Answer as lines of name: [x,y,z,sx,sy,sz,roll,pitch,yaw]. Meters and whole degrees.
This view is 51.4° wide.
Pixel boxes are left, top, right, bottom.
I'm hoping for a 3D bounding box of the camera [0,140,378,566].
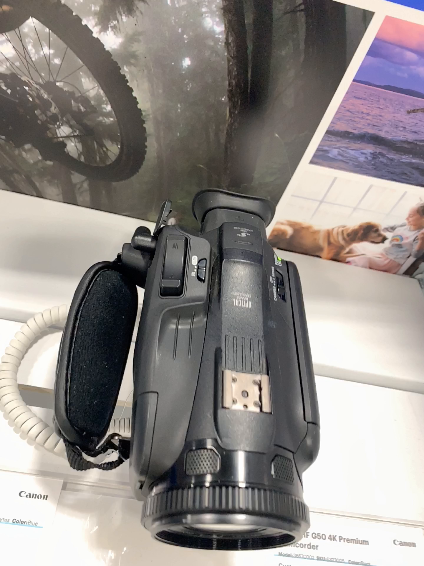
camera: [-0.013,0.025,0.233,0.131,0.069,0.201,10,49,-11]
